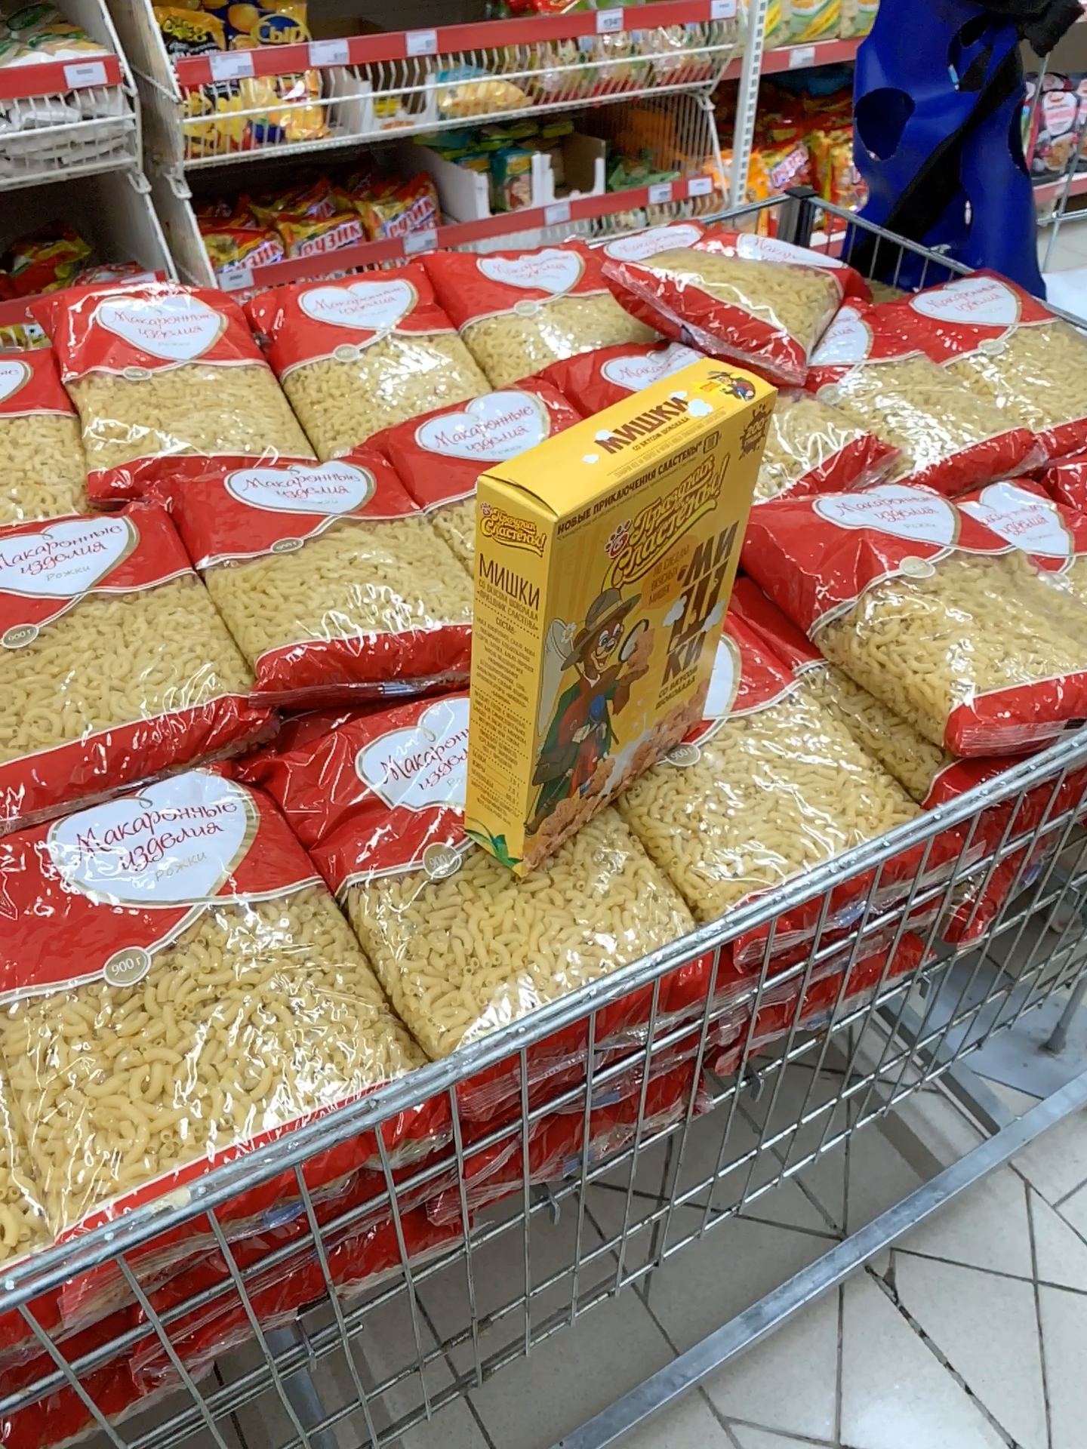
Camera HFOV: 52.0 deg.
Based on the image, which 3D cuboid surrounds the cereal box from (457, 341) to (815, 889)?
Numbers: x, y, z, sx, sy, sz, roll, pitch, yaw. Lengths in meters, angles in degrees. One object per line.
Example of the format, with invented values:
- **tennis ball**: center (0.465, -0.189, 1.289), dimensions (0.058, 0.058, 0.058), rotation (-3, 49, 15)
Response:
- **cereal box**: center (0.039, -0.049, 0.544), dimensions (0.050, 0.218, 0.171), rotation (34, 51, 25)
